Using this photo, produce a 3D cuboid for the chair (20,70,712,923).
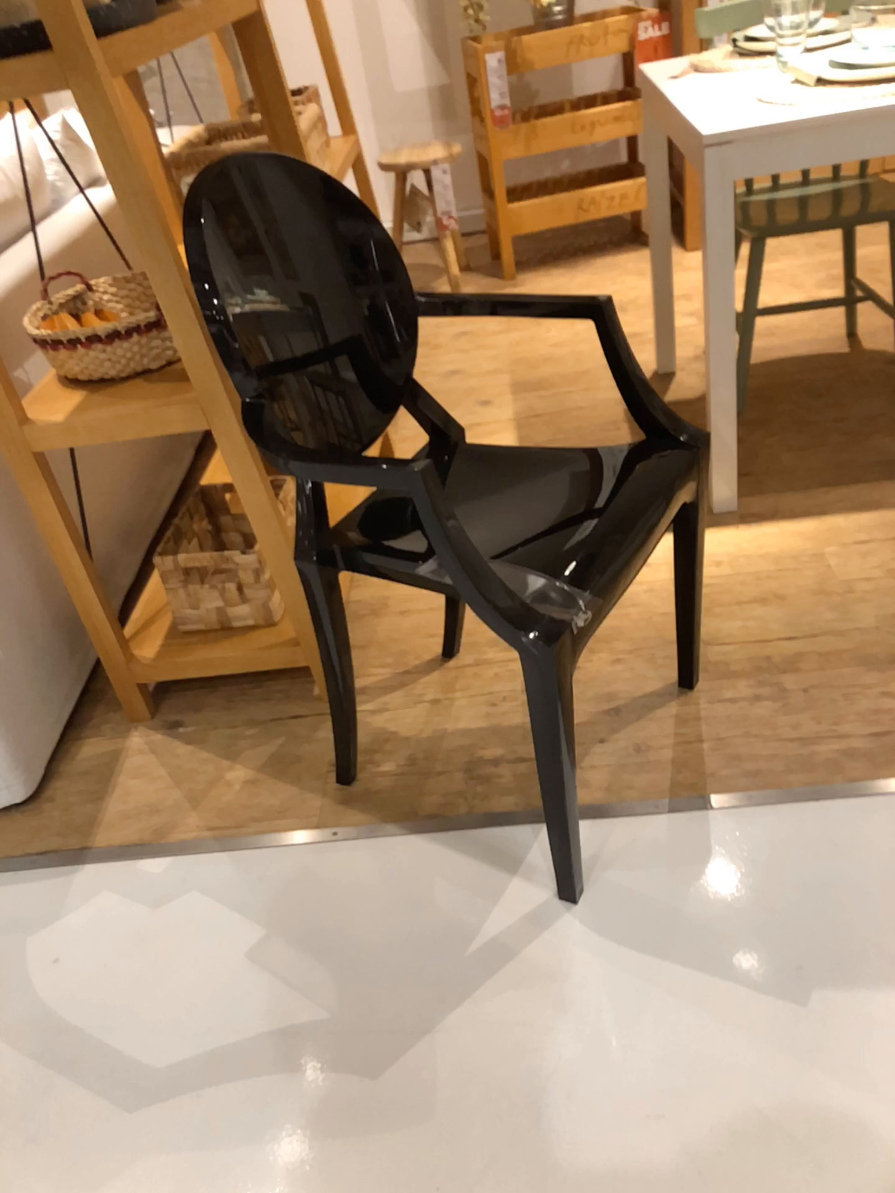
[{"bbox_3d":[-0.001,-0.138,1.351,0.591,0.903,0.544,8,38,26],"label":"chair"}]
